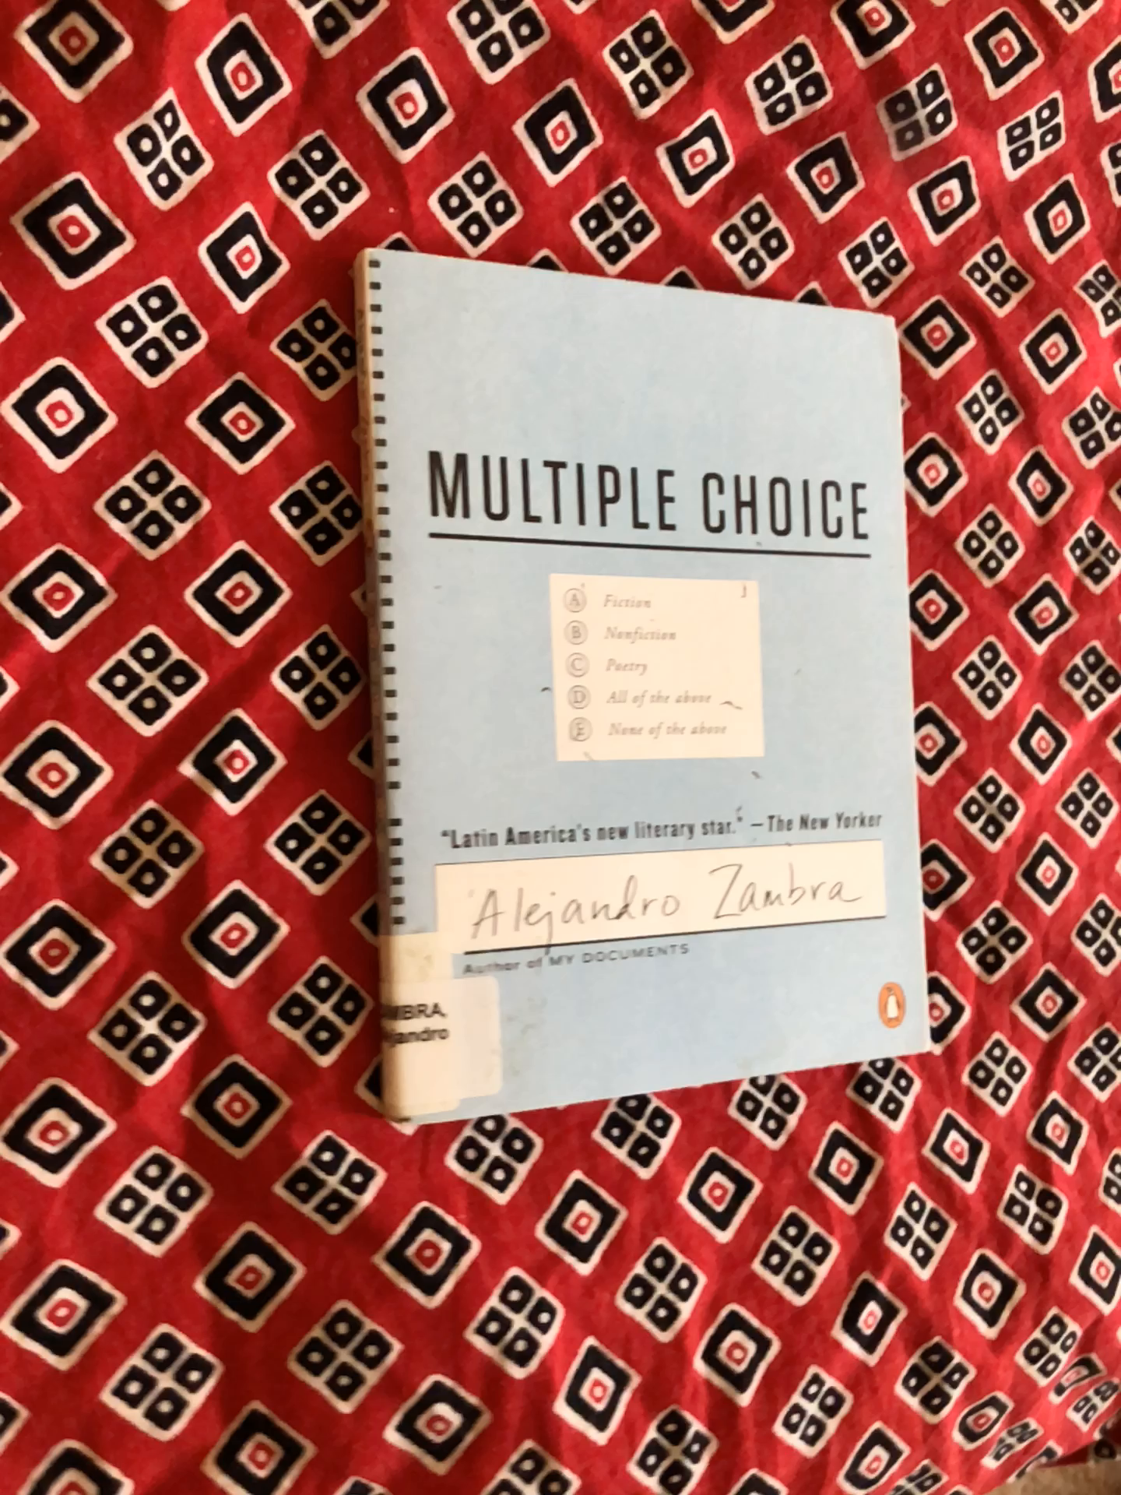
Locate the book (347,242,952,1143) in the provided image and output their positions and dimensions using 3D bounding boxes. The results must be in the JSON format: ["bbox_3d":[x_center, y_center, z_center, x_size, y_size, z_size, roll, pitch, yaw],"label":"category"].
[{"bbox_3d":[0.024,-0.013,0.280,0.134,0.020,0.176,-2,88,-24],"label":"book"}]
